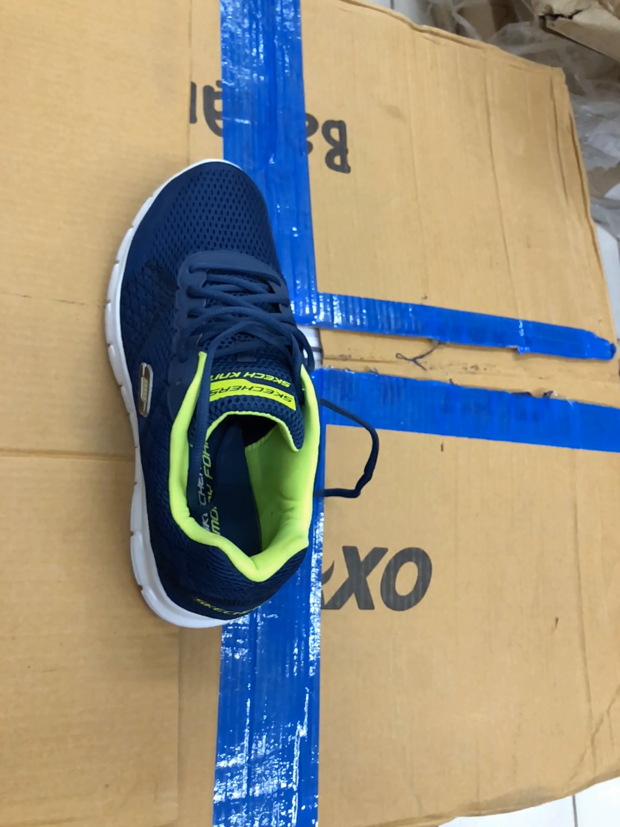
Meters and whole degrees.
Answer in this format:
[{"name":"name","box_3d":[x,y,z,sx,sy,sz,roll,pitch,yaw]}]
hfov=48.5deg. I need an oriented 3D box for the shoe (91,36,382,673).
[{"name":"shoe","box_3d":[-0.054,-0.025,0.381,0.110,0.129,0.290,1,77,-24]}]
